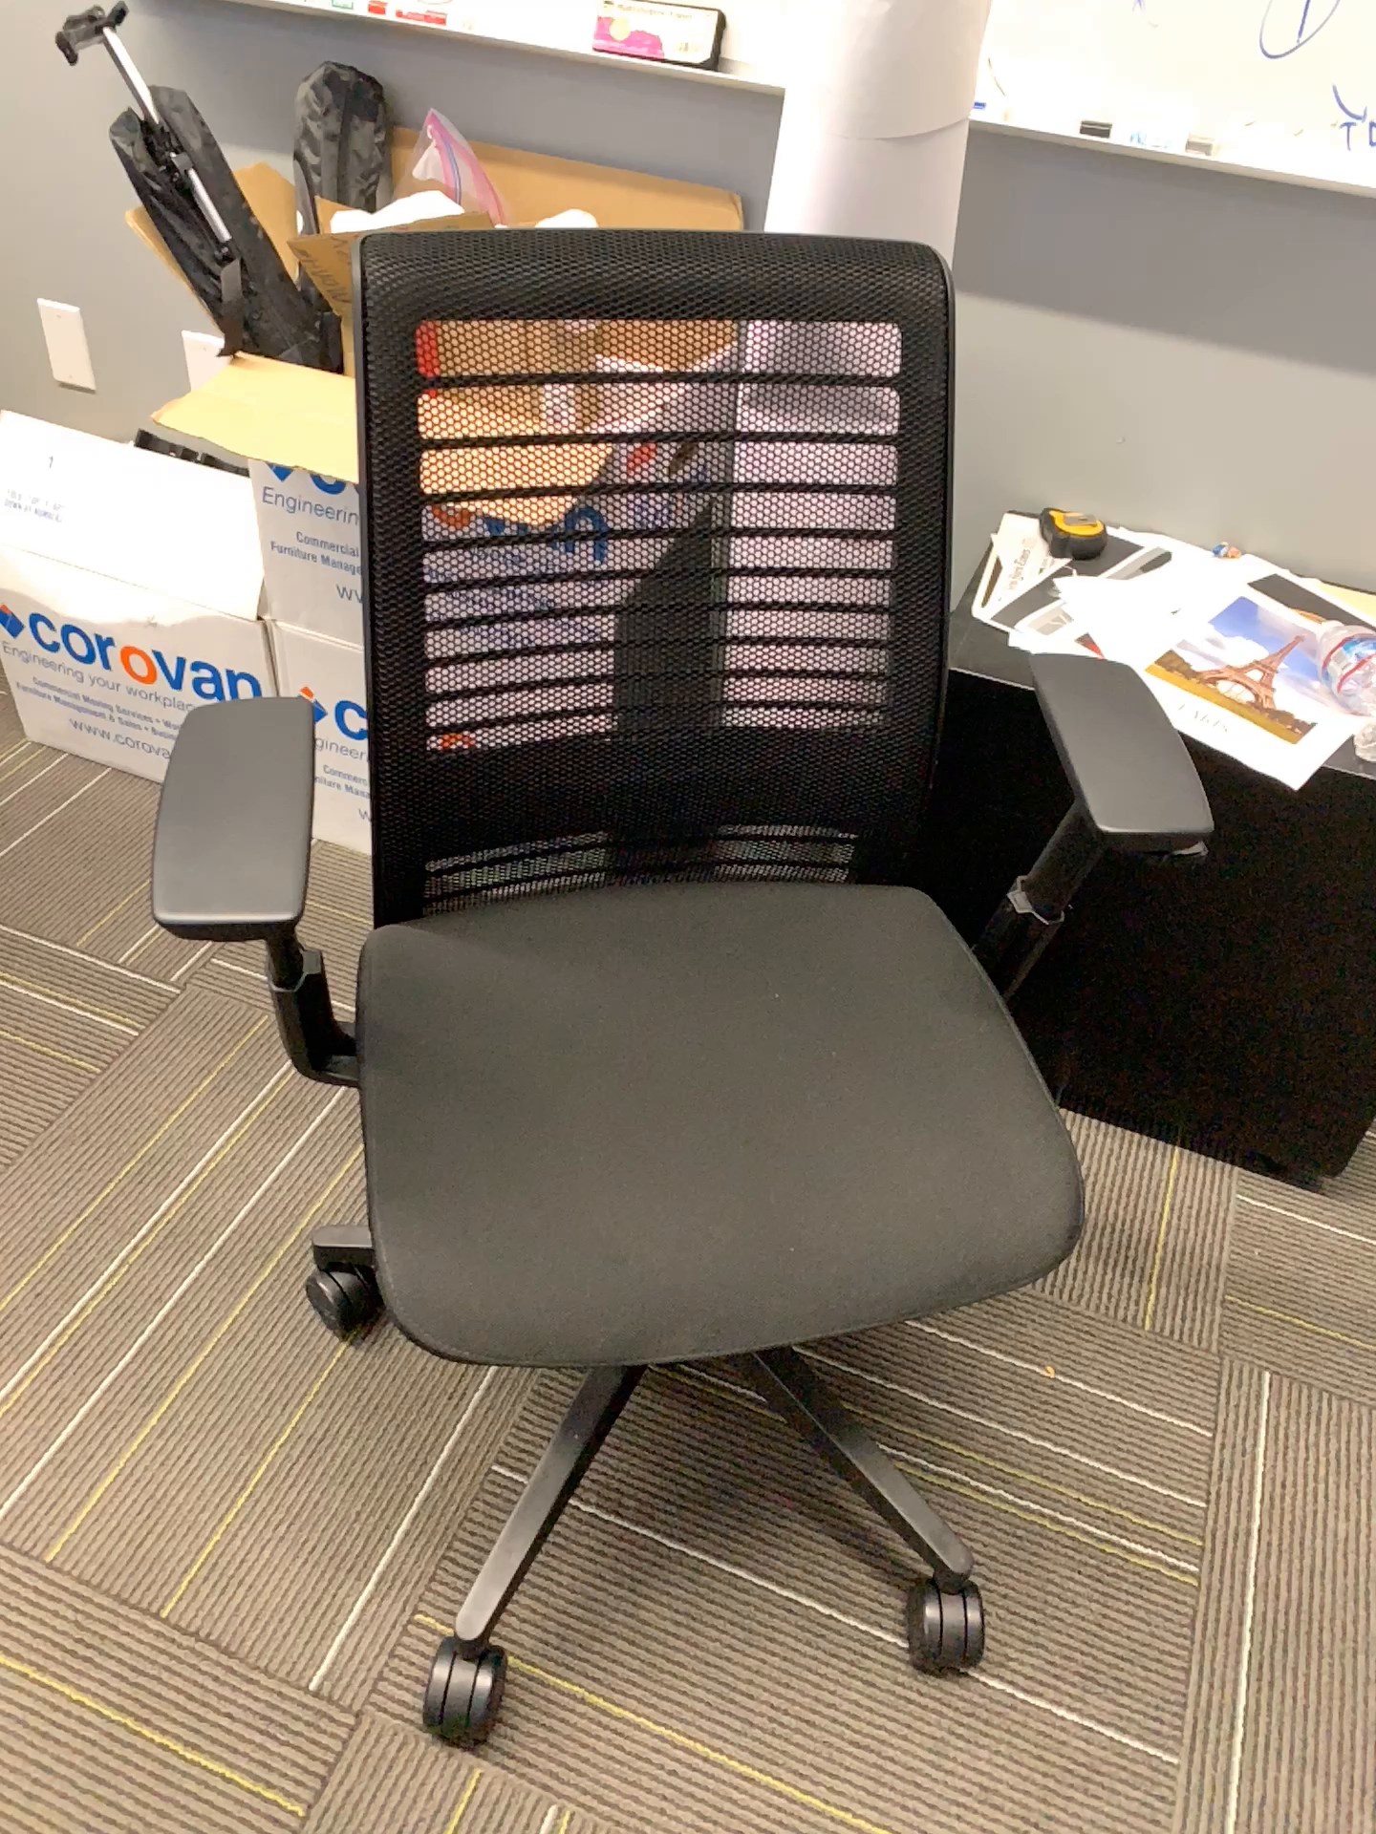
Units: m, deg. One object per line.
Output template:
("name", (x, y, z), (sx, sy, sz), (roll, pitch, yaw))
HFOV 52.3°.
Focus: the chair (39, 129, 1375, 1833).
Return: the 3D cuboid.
("chair", (0.017, 0.036, 1.003), (0.660, 0.915, 0.684), (-7, 42, -14))
